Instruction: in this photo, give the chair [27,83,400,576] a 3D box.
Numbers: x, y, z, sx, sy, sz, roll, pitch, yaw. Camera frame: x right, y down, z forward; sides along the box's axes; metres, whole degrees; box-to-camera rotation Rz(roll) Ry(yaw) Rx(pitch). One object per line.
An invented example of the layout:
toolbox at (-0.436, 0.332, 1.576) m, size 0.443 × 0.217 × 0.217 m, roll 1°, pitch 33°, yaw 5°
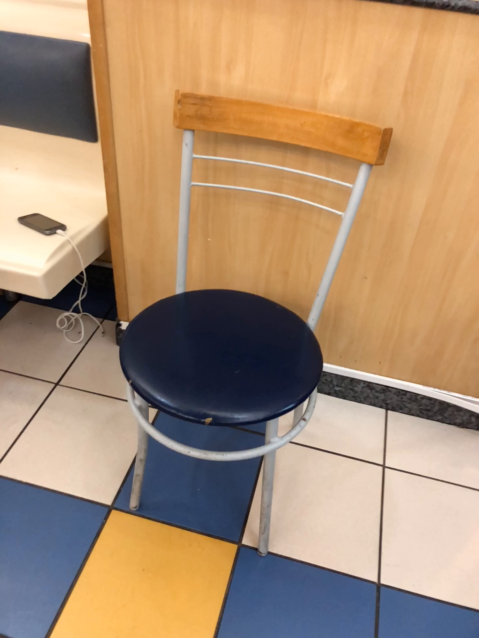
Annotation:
chair at (-0.008, 0.019, 1.051) m, size 0.440 × 0.744 × 0.524 m, roll 13°, pitch 40°, yaw 10°
